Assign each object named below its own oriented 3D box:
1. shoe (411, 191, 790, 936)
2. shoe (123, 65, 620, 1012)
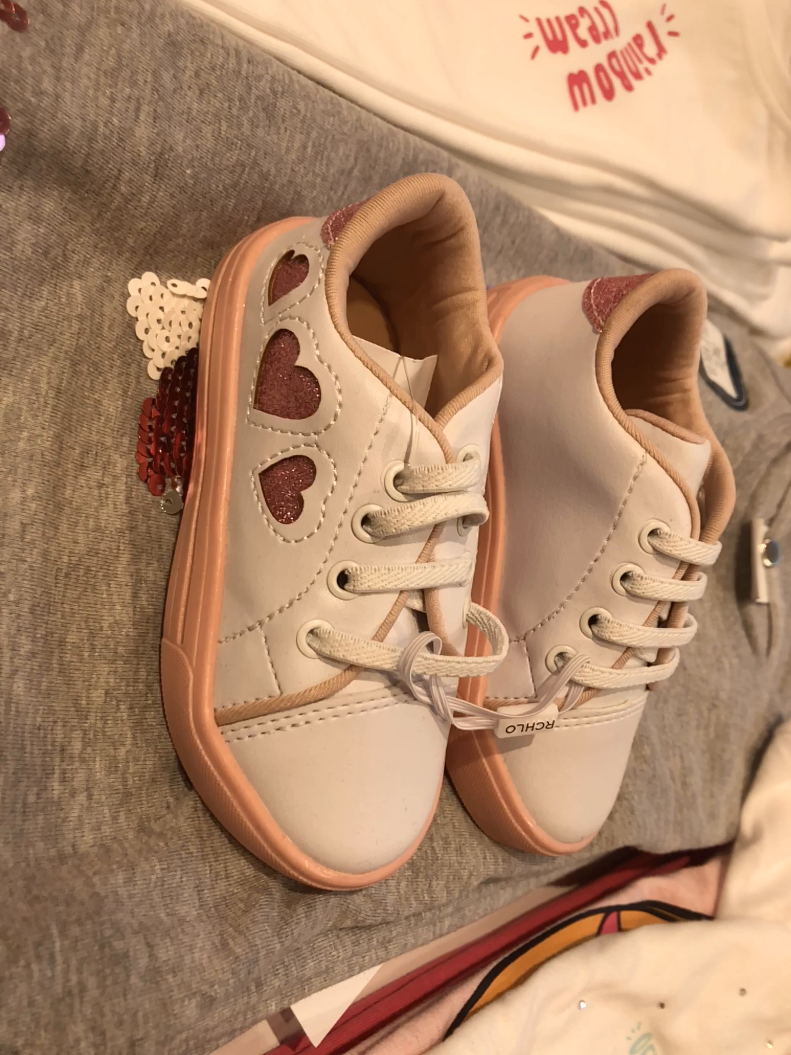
[{"bbox_3d":[0.058,0.007,0.228,0.070,0.070,0.150,-3,89,-48],"label":"shoe"},{"bbox_3d":[-0.004,0.002,0.190,0.070,0.070,0.150,5,87,-47],"label":"shoe"}]
